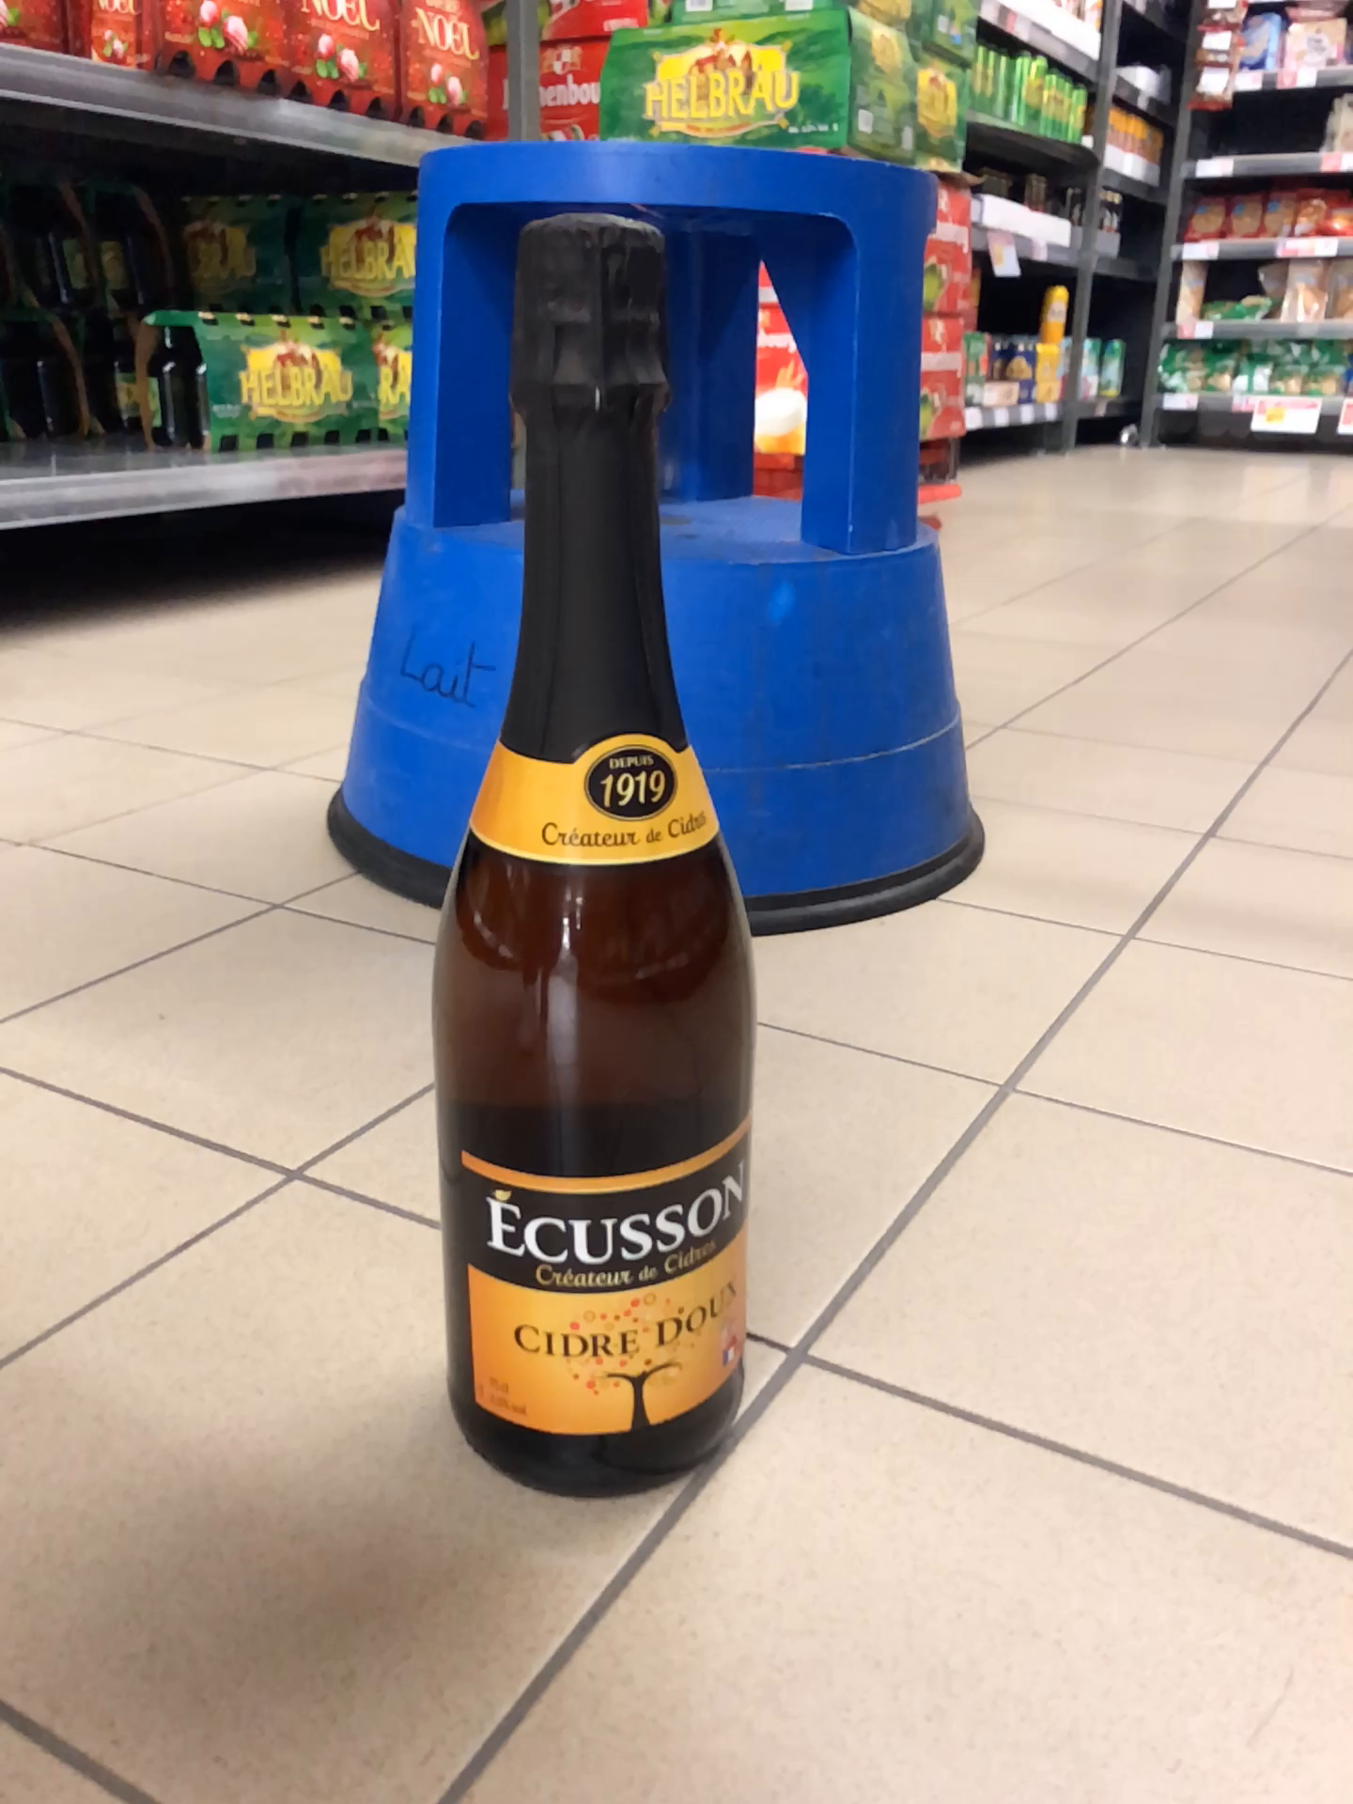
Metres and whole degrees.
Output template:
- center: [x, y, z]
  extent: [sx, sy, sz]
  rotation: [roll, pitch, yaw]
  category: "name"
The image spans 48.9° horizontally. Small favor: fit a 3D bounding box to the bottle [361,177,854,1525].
- center: [-0.019, -0.005, 0.363]
  extent: [0.090, 0.299, 0.090]
  rotation: [1, 19, 0]
  category: "bottle"
